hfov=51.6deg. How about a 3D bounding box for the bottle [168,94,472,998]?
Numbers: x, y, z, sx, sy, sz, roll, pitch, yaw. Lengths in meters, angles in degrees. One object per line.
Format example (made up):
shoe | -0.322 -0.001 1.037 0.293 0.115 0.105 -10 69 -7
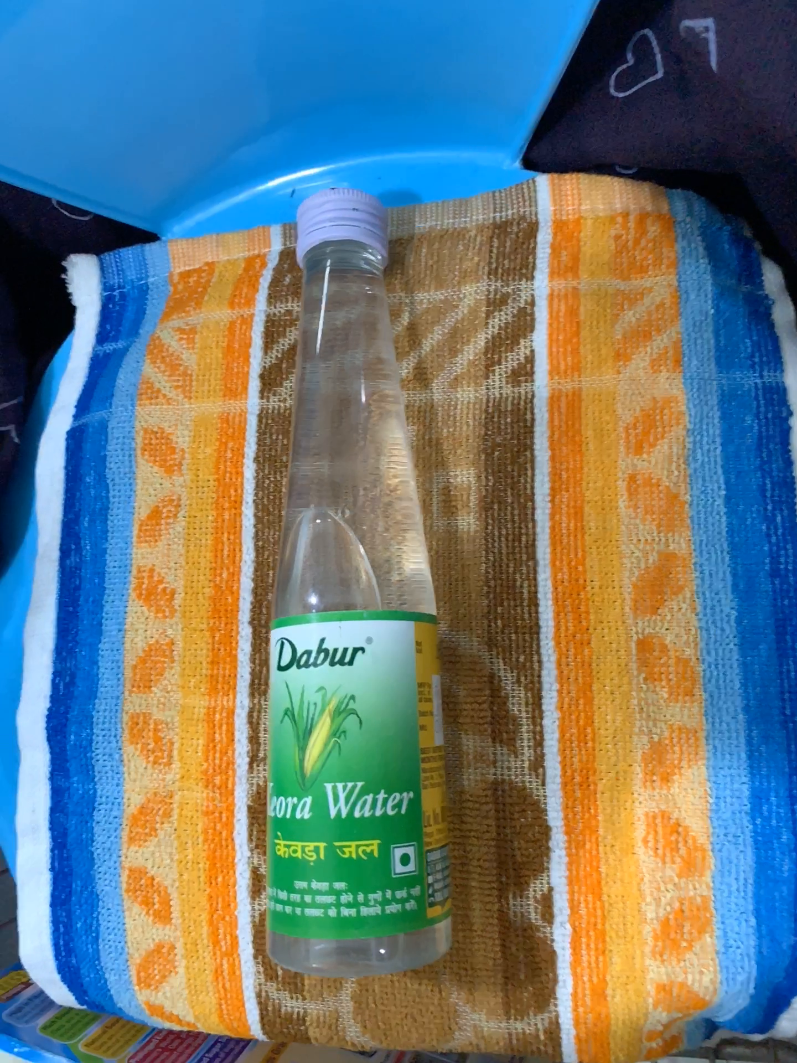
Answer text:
bottle | -0.020 0.001 0.211 0.050 0.050 0.200 -7 81 16
